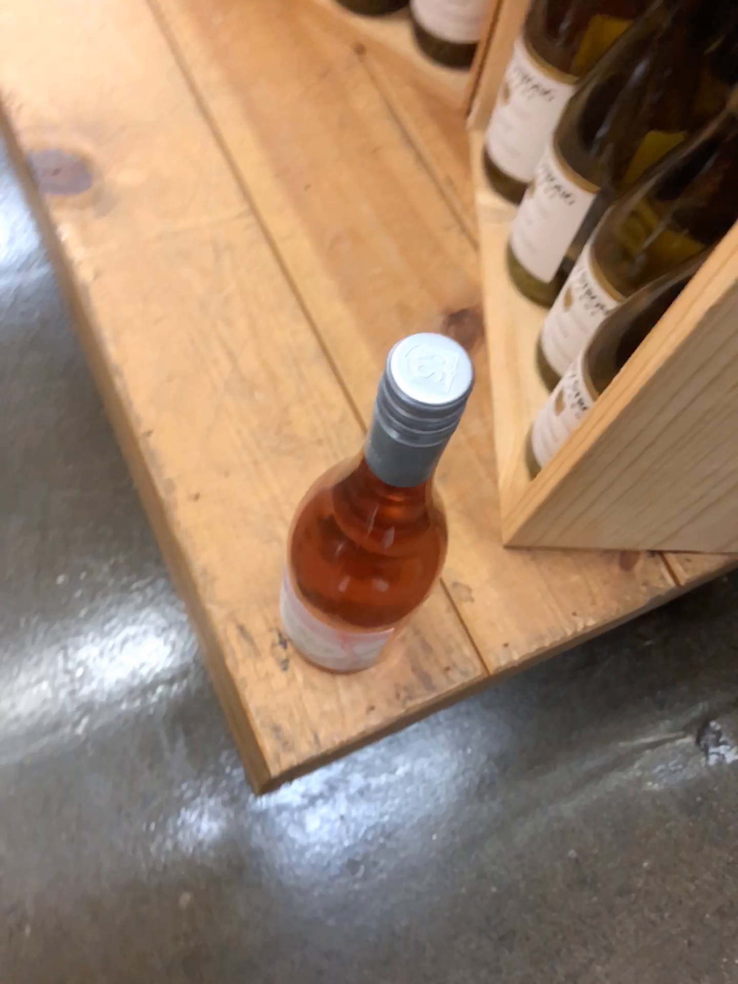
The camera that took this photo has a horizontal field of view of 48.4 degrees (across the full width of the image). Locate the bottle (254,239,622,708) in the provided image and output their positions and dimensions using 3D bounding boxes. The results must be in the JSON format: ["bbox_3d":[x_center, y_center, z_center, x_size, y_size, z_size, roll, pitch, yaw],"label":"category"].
[{"bbox_3d":[0.003,0.026,0.391,0.081,0.310,0.080,3,68,-6],"label":"bottle"}]
